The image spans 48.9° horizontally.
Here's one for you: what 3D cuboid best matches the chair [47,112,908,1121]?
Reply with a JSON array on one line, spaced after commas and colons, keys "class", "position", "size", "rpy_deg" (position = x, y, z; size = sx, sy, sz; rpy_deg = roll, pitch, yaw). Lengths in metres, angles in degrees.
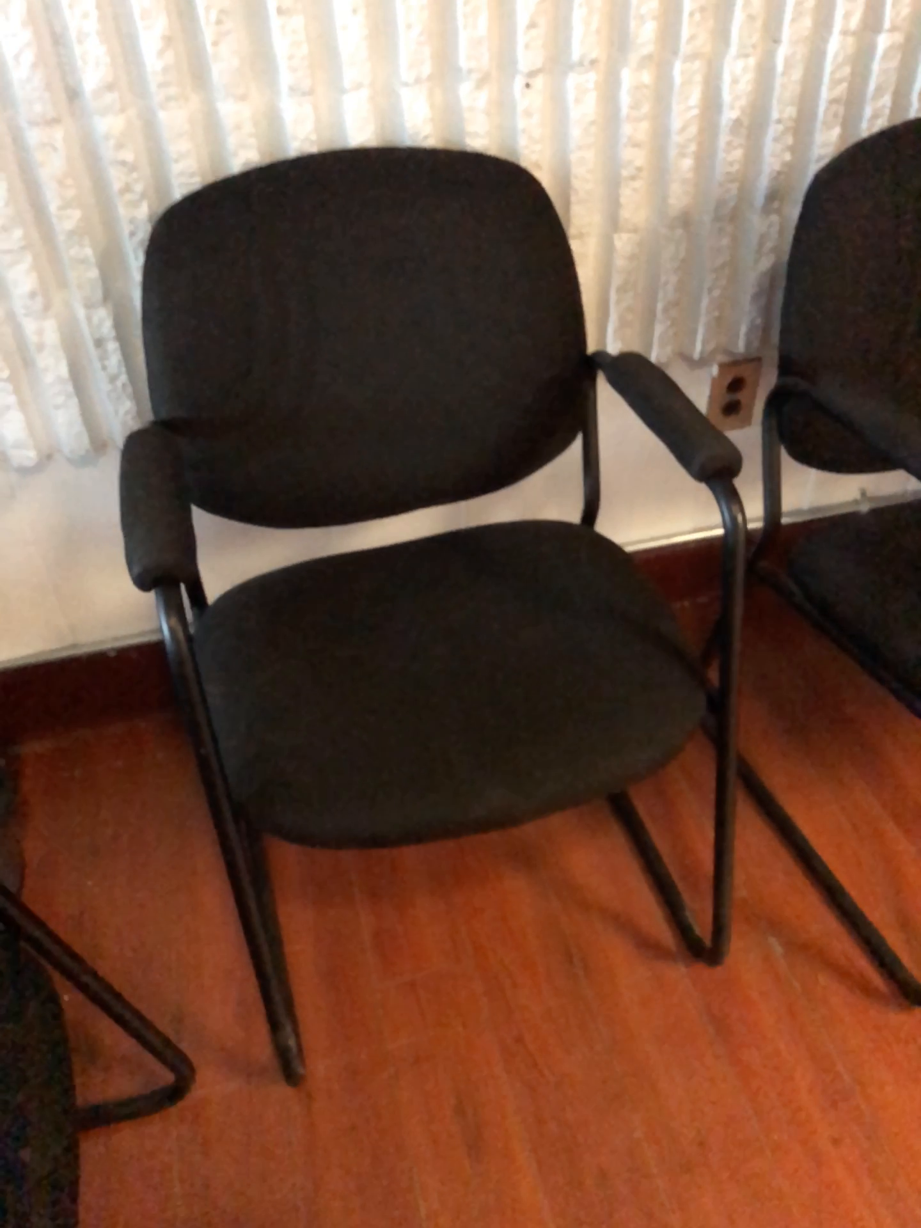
[{"class": "chair", "position": [-0.055, -0.039, 1.208], "size": [0.590, 0.794, 0.775], "rpy_deg": [-12, 41, -10]}]
